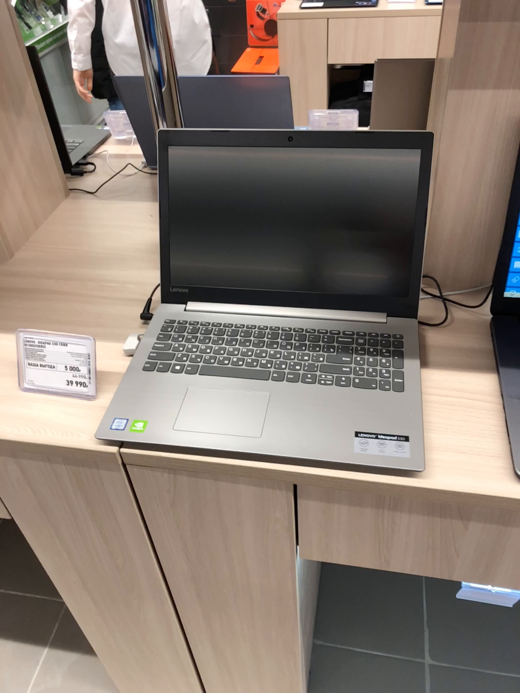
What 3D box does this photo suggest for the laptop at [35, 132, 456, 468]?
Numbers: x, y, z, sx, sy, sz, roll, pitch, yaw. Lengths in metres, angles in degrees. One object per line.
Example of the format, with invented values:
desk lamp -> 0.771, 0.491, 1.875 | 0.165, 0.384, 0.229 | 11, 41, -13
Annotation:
laptop -> 0.017, -0.085, 0.692 | 0.370, 0.208, 0.367 | 4, 42, 11

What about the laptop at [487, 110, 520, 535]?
laptop -> 0.492, -0.056, 0.588 | 0.403, 0.246, 0.335 | 4, 42, 11
